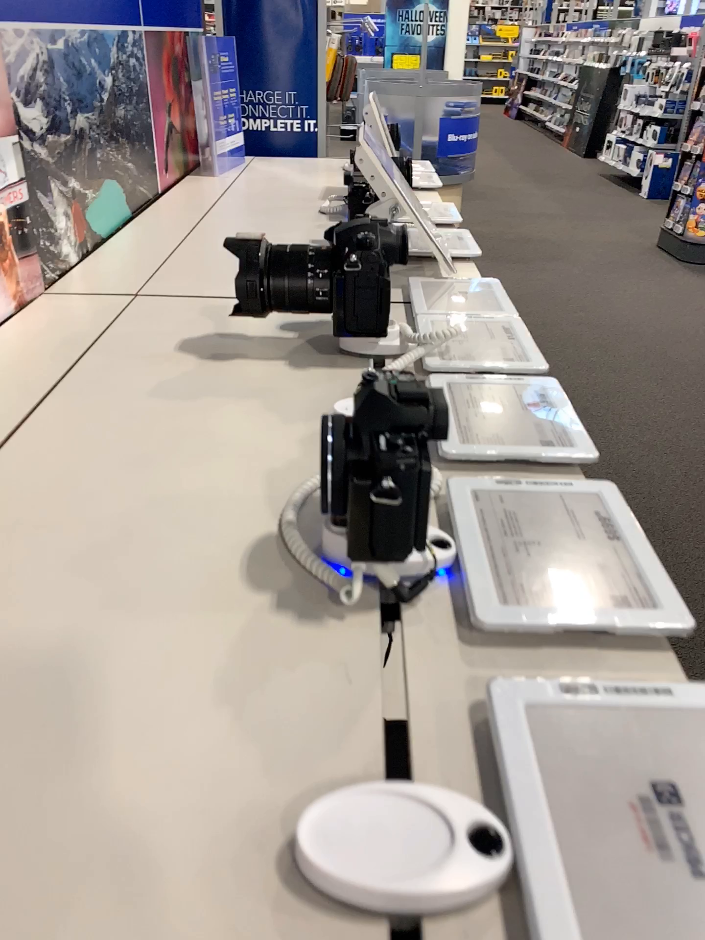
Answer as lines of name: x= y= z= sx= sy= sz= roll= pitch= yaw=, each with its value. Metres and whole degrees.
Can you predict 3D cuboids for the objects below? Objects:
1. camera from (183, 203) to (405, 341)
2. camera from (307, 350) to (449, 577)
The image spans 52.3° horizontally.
camera: x=-0.055 y=-0.205 z=0.733 sx=0.200 sy=0.099 sz=0.141 roll=0 pitch=31 yaw=-2
camera: x=0.010 y=-0.010 z=0.430 sx=0.070 sy=0.080 sz=0.131 roll=0 pitch=31 yaw=-2
